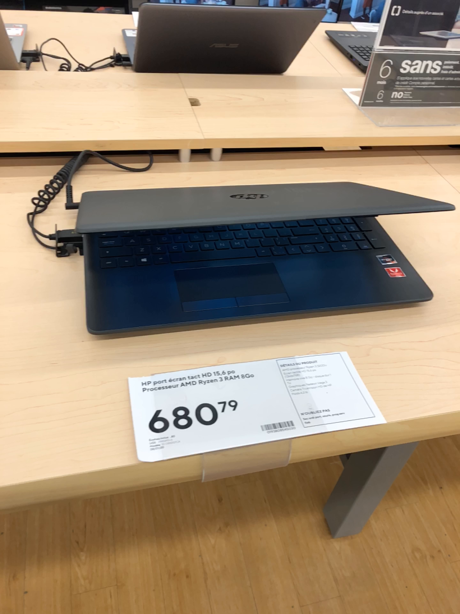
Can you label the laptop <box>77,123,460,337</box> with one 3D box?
[{"bbox_3d":[0.026,-0.107,0.561,0.366,0.090,0.243,-6,44,-15],"label":"laptop"}]
